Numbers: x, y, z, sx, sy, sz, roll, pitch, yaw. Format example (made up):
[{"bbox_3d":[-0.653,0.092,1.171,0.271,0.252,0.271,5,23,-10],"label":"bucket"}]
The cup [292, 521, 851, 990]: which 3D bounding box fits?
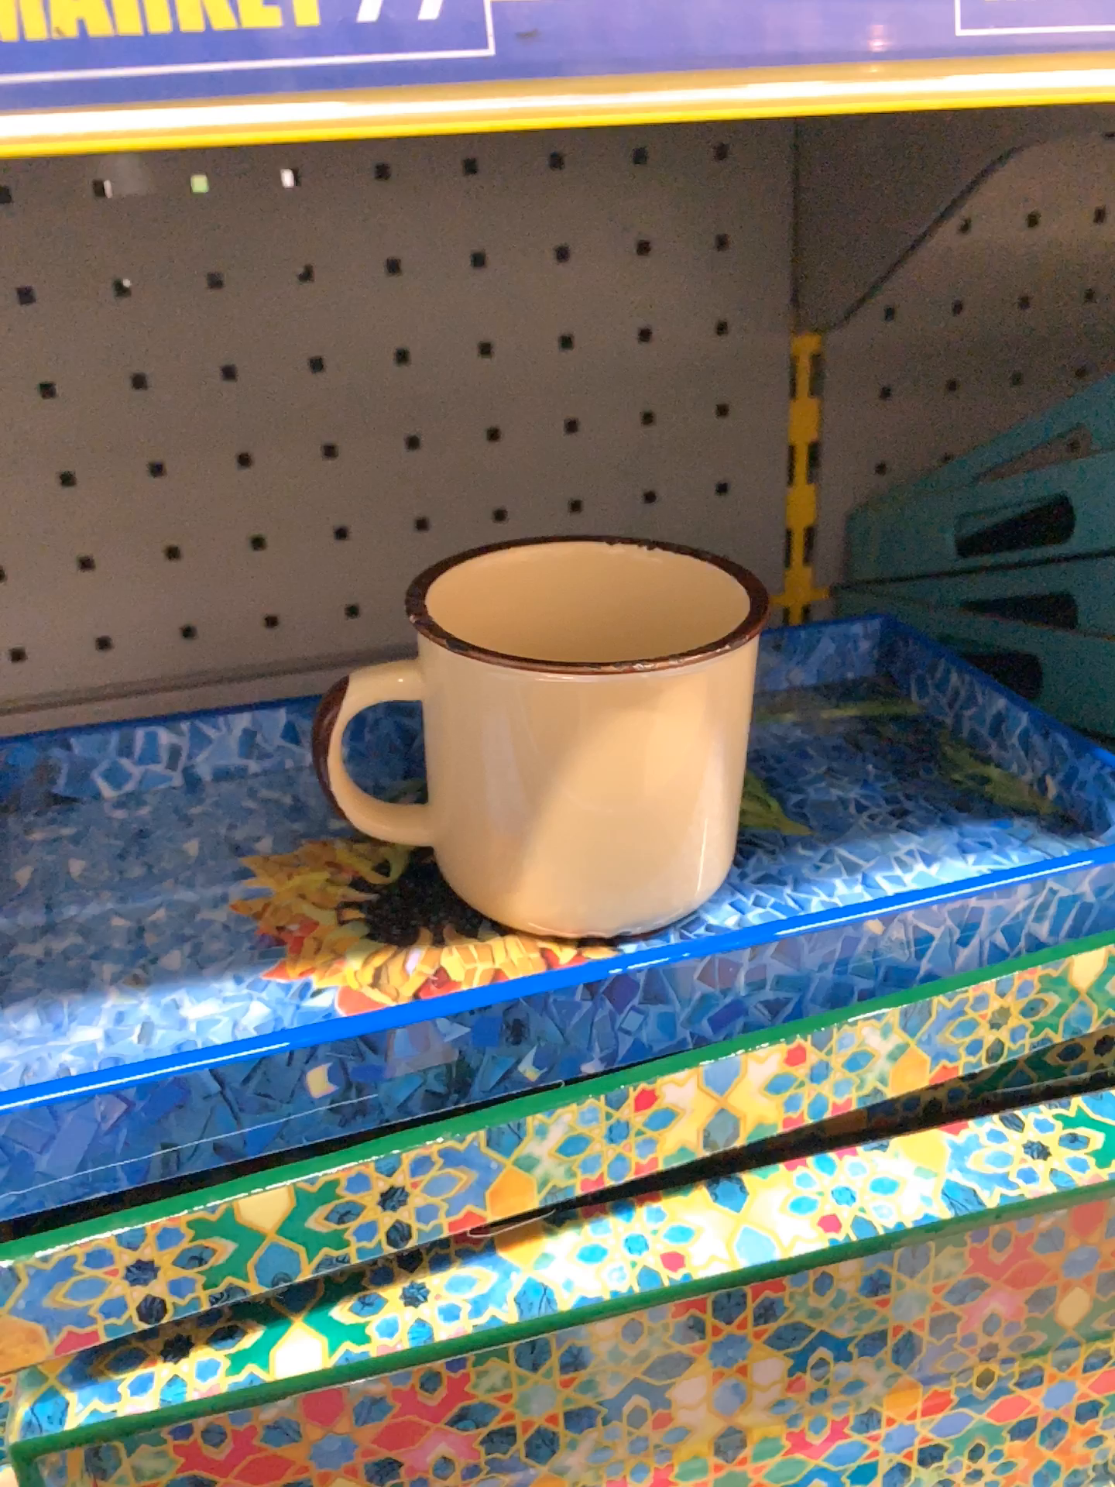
[{"bbox_3d":[-0.002,-0.005,0.285,0.110,0.070,0.090,-8,26,-13],"label":"cup"}]
